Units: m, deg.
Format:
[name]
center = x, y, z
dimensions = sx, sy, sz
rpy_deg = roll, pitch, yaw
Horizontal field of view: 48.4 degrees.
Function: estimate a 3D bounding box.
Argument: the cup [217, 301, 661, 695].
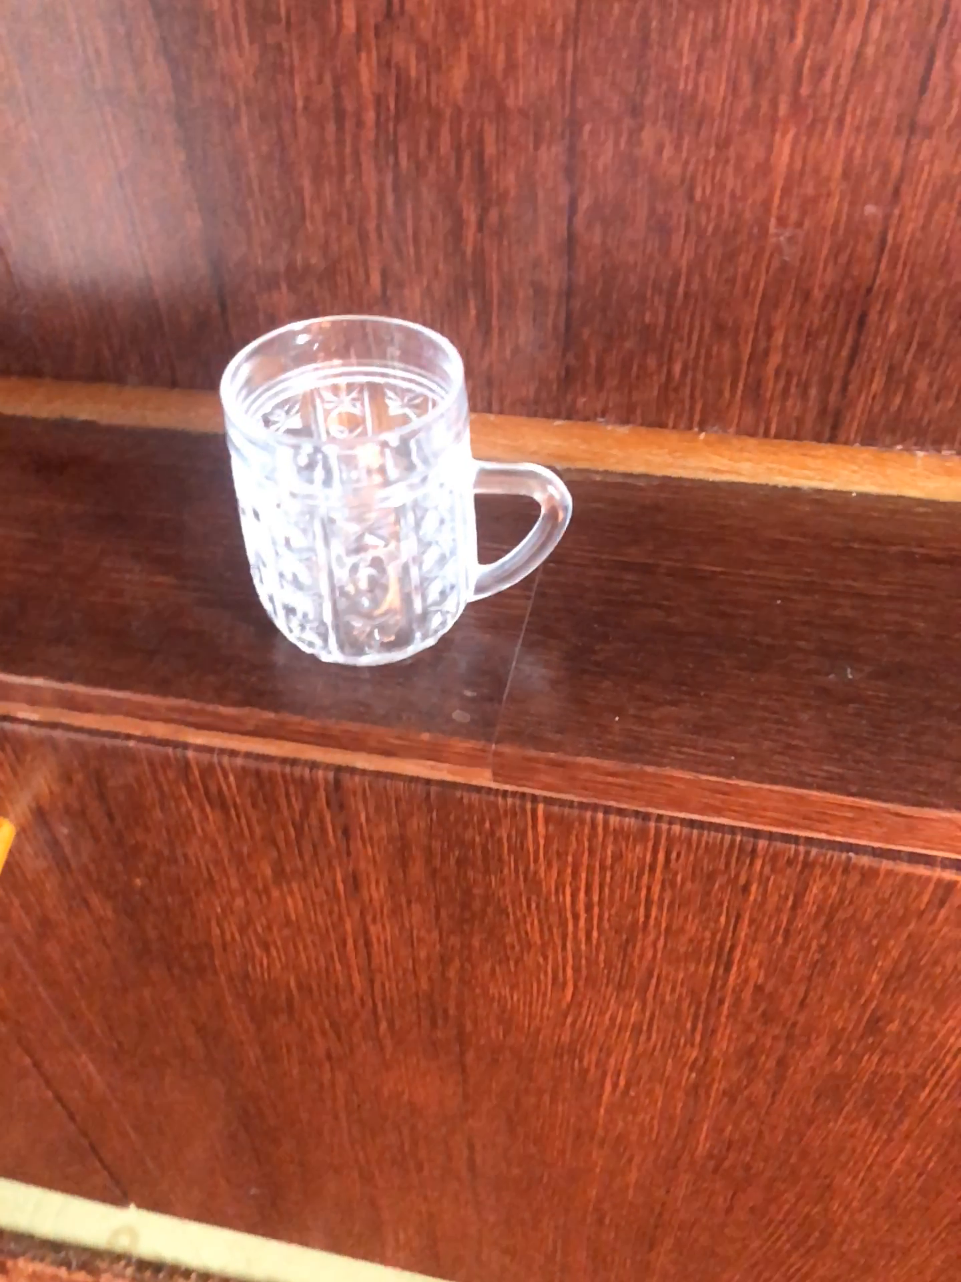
[cup]
center = -0.009, -0.039, 0.293
dimensions = 0.100, 0.080, 0.070
rpy_deg = -1, 44, 0
